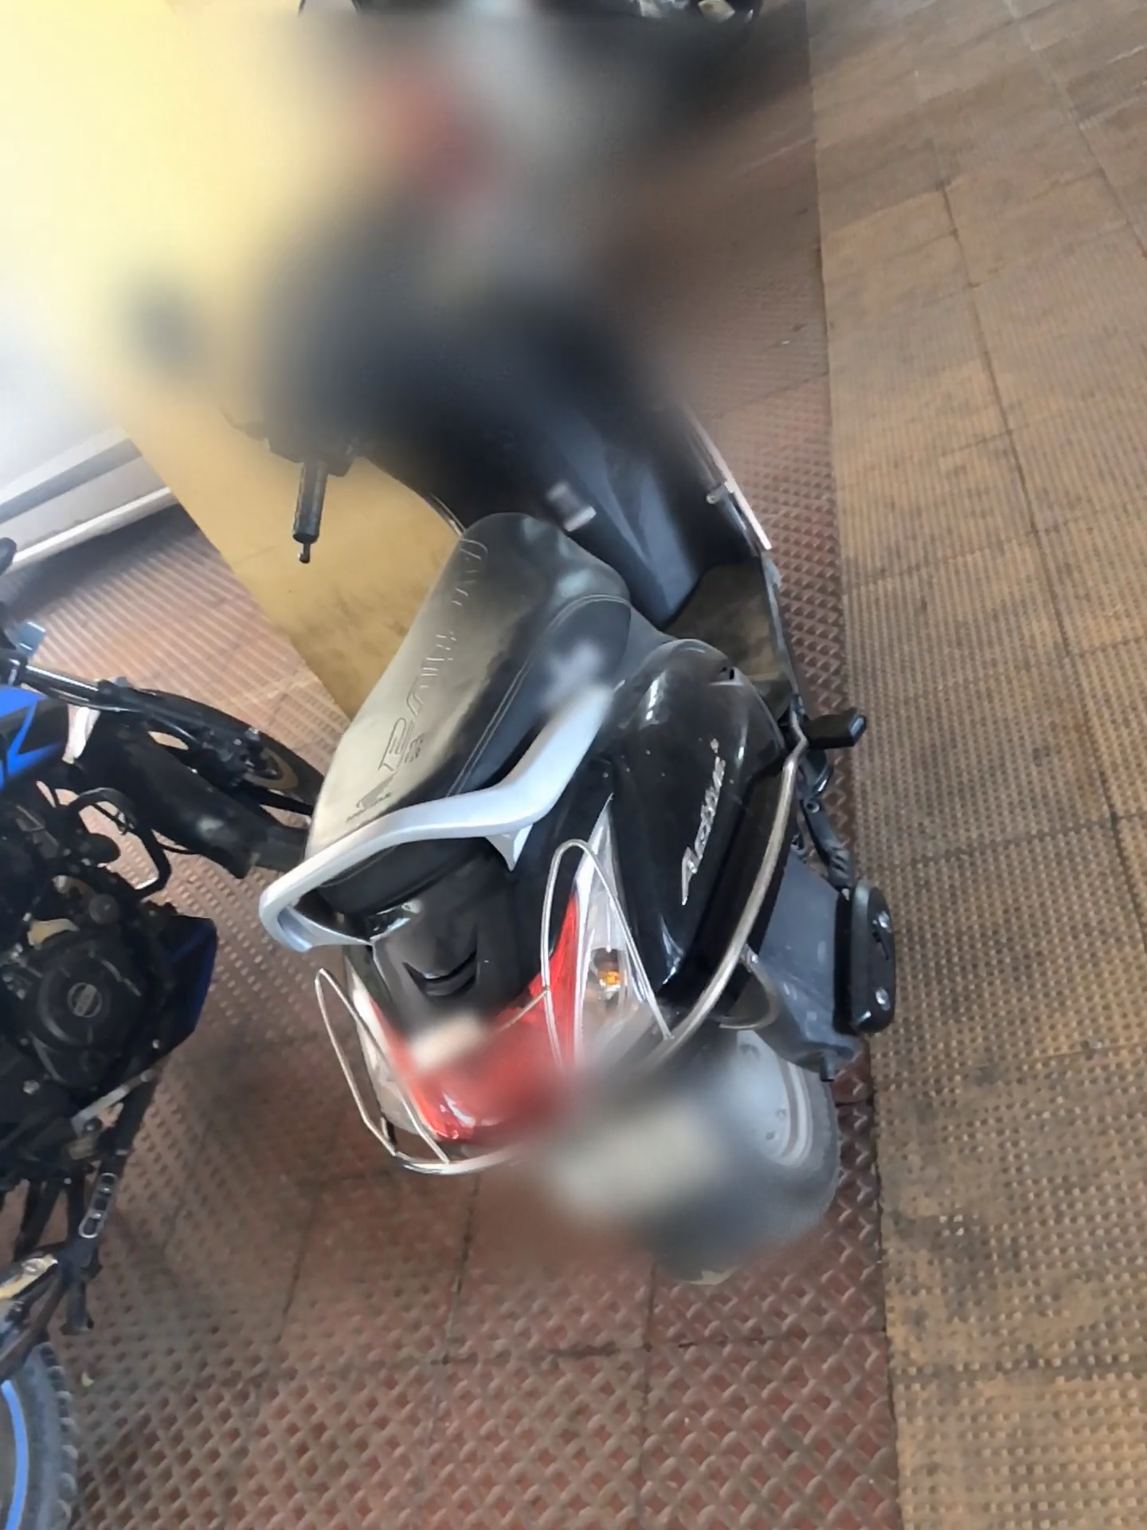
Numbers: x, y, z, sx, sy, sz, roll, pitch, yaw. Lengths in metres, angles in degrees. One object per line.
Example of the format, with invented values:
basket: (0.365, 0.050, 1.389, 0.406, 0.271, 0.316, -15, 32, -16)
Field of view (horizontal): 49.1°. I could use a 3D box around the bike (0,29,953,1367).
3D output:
bike: (-0.176, -0.170, 1.829, 0.607, 1.172, 1.448, -25, 38, 11)
